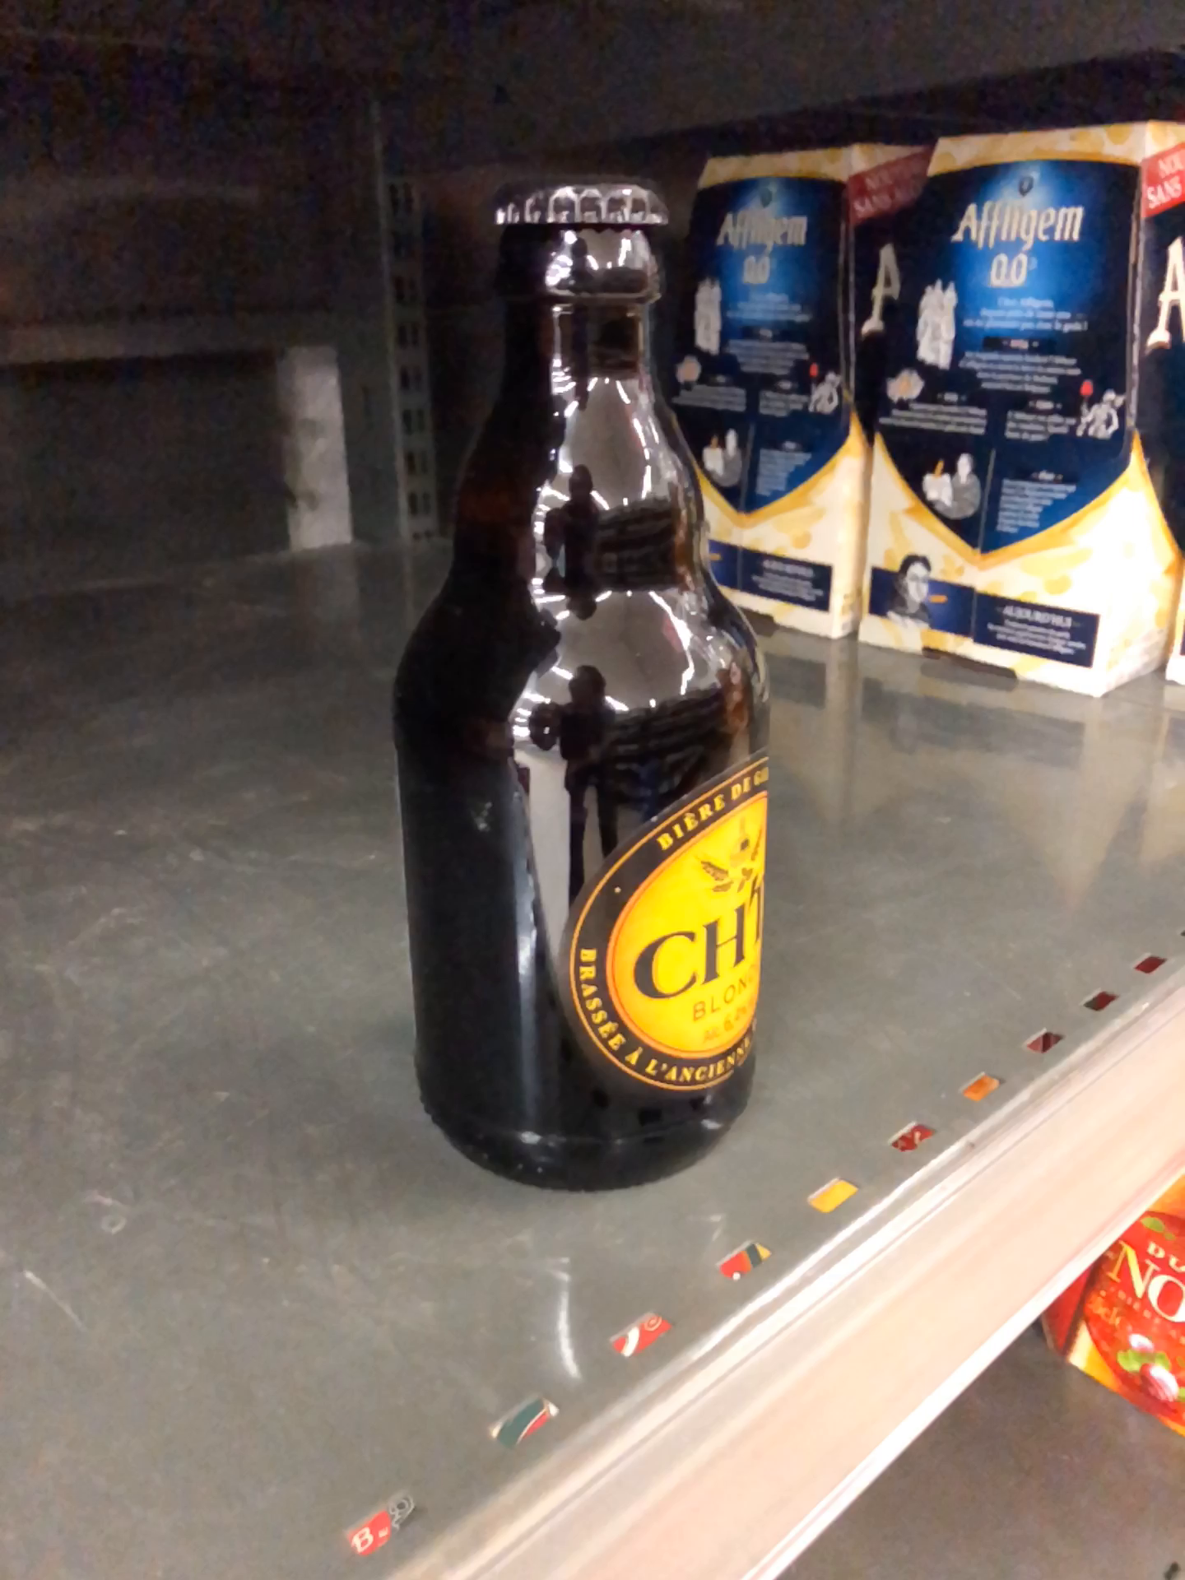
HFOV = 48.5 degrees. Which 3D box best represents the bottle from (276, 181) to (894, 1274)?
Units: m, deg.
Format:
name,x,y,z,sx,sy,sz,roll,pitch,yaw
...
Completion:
name,x,y,z,sx,sy,sz,roll,pitch,yaw
bottle,0.002,-0.015,0.239,0.070,0.169,0.070,-1,21,0
